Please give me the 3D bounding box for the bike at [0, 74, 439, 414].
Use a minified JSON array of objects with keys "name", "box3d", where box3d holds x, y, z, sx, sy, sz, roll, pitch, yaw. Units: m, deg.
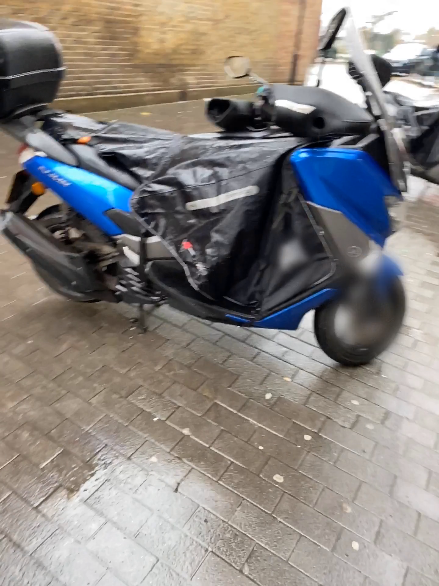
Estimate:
[{"name":"bike","box3d":[-0.033,-0.249,1.851,1.730,0.998,0.682,8,29,5]}]
